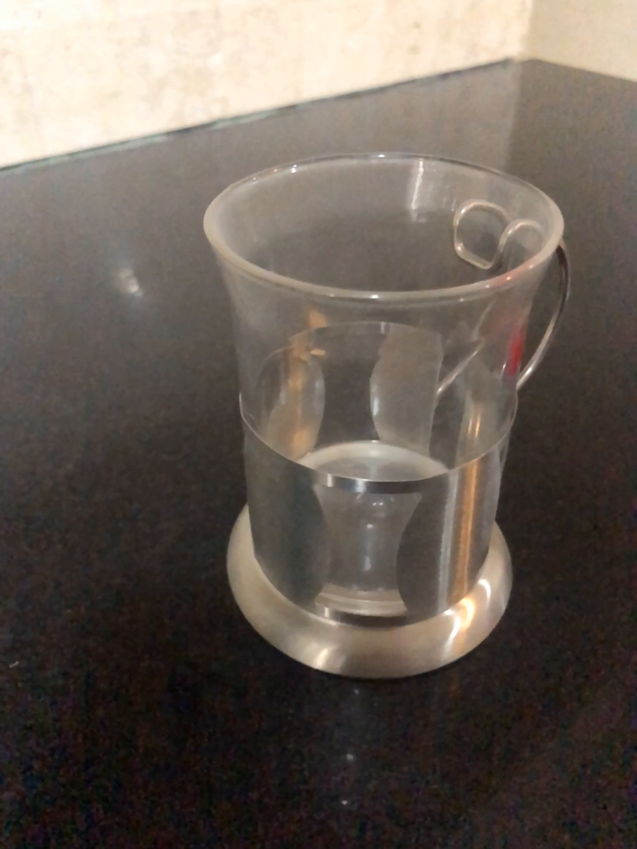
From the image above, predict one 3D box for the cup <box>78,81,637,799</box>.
[{"bbox_3d":[0.024,-0.006,0.169,0.110,0.109,0.080,-26,45,-29],"label":"cup"}]
